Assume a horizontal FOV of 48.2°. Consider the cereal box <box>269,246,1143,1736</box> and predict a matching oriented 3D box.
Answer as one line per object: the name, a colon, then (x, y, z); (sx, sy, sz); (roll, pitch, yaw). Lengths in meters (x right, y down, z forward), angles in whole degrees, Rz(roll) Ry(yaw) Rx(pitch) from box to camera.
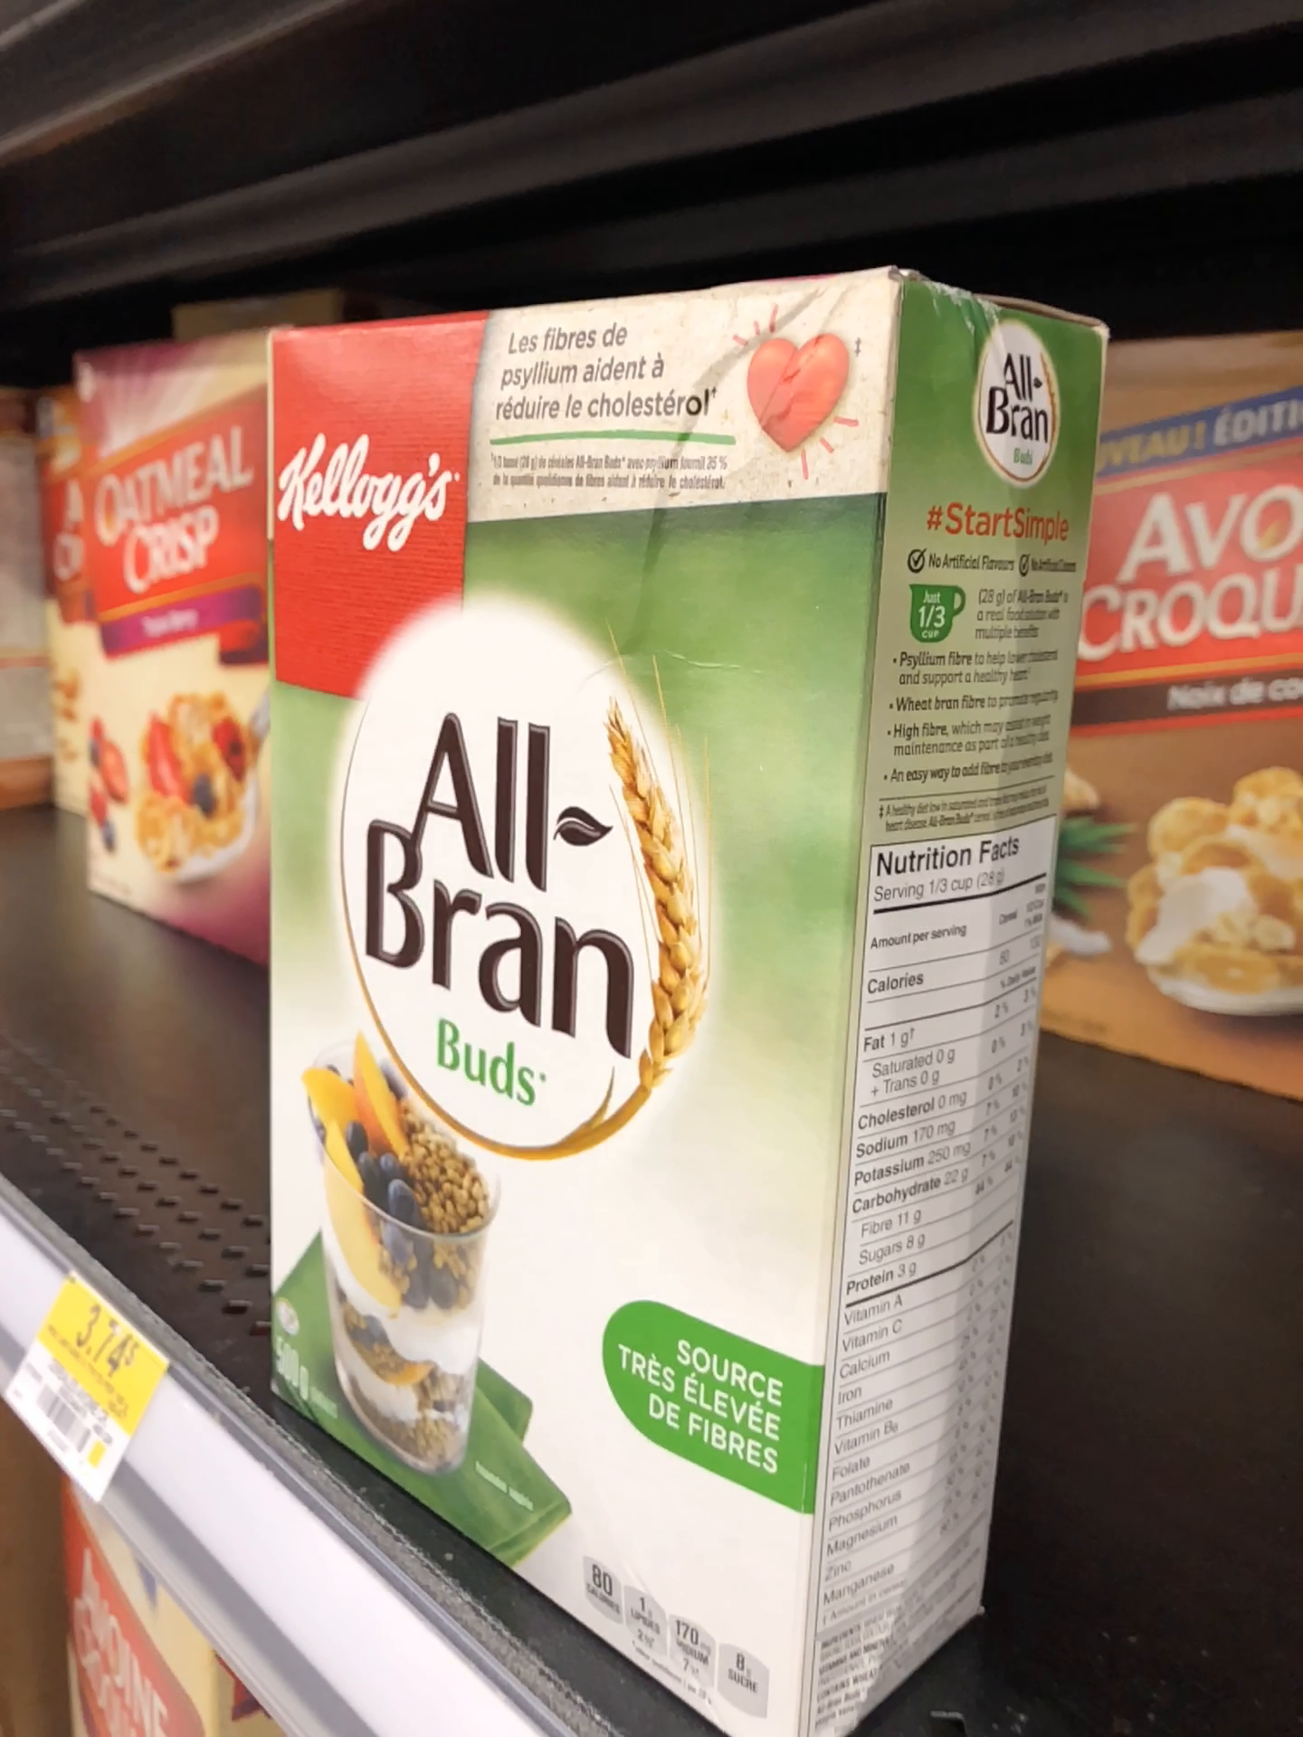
cereal box: (-0.003, 0.015, 0.267); (0.150, 0.219, 0.050); (13, 17, 42)
